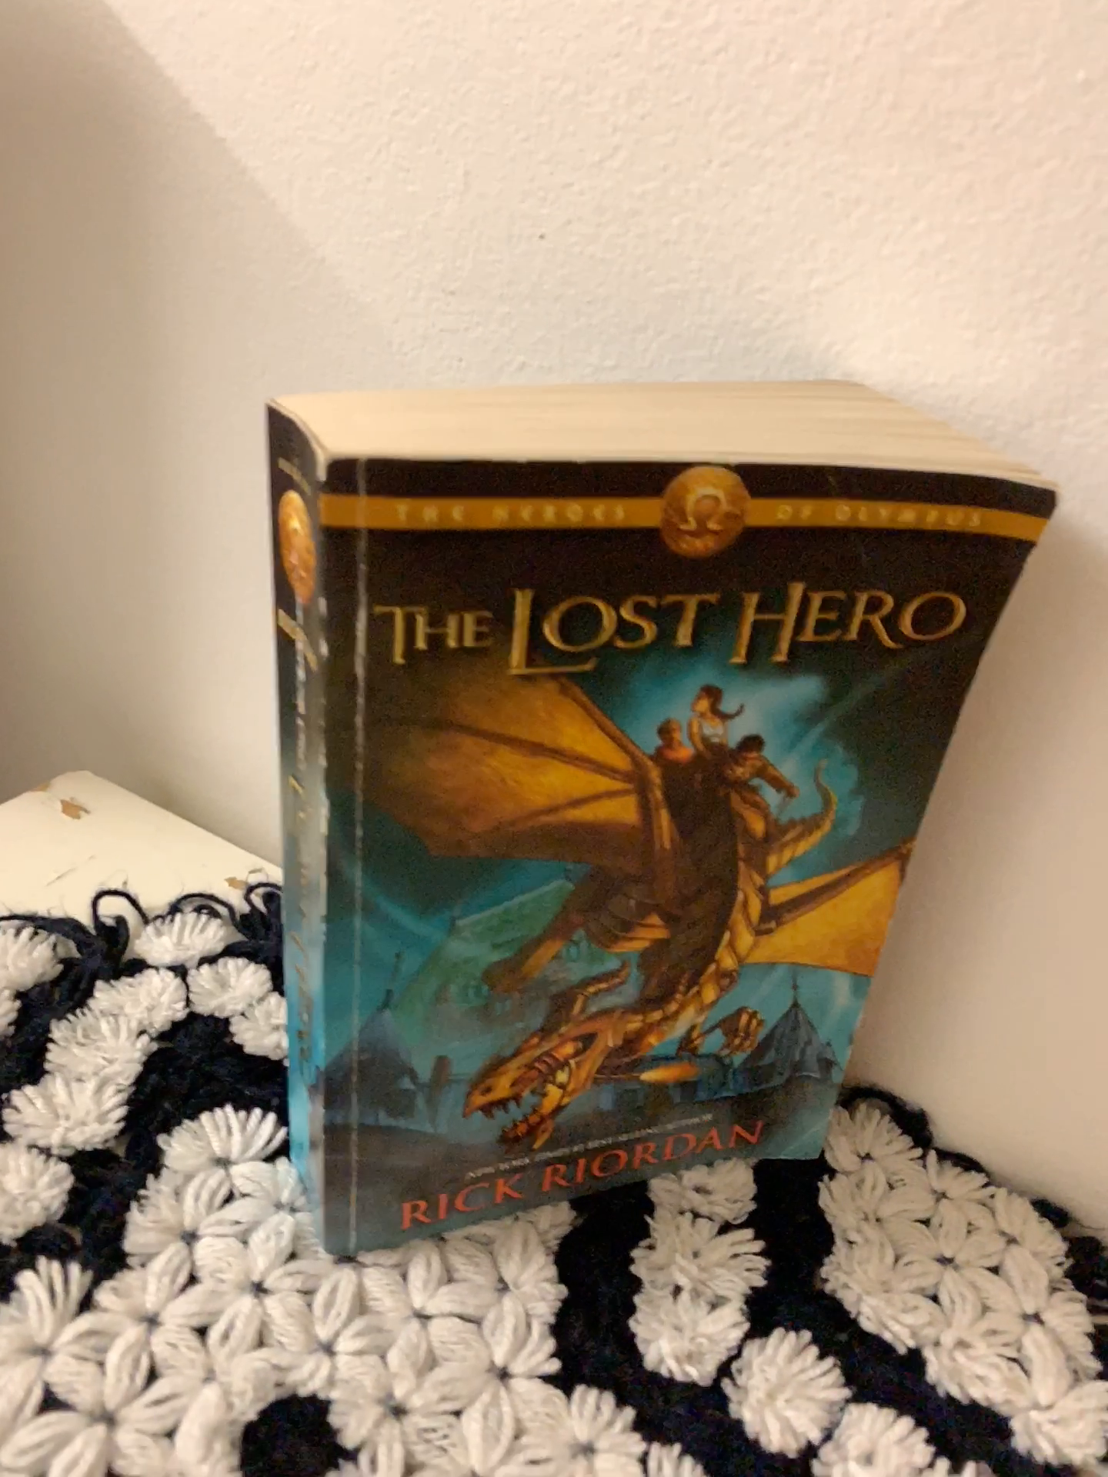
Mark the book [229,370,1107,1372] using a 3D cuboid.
[{"bbox_3d":[0.013,0.022,0.241,0.142,0.177,0.068,-6,28,-23],"label":"book"}]
